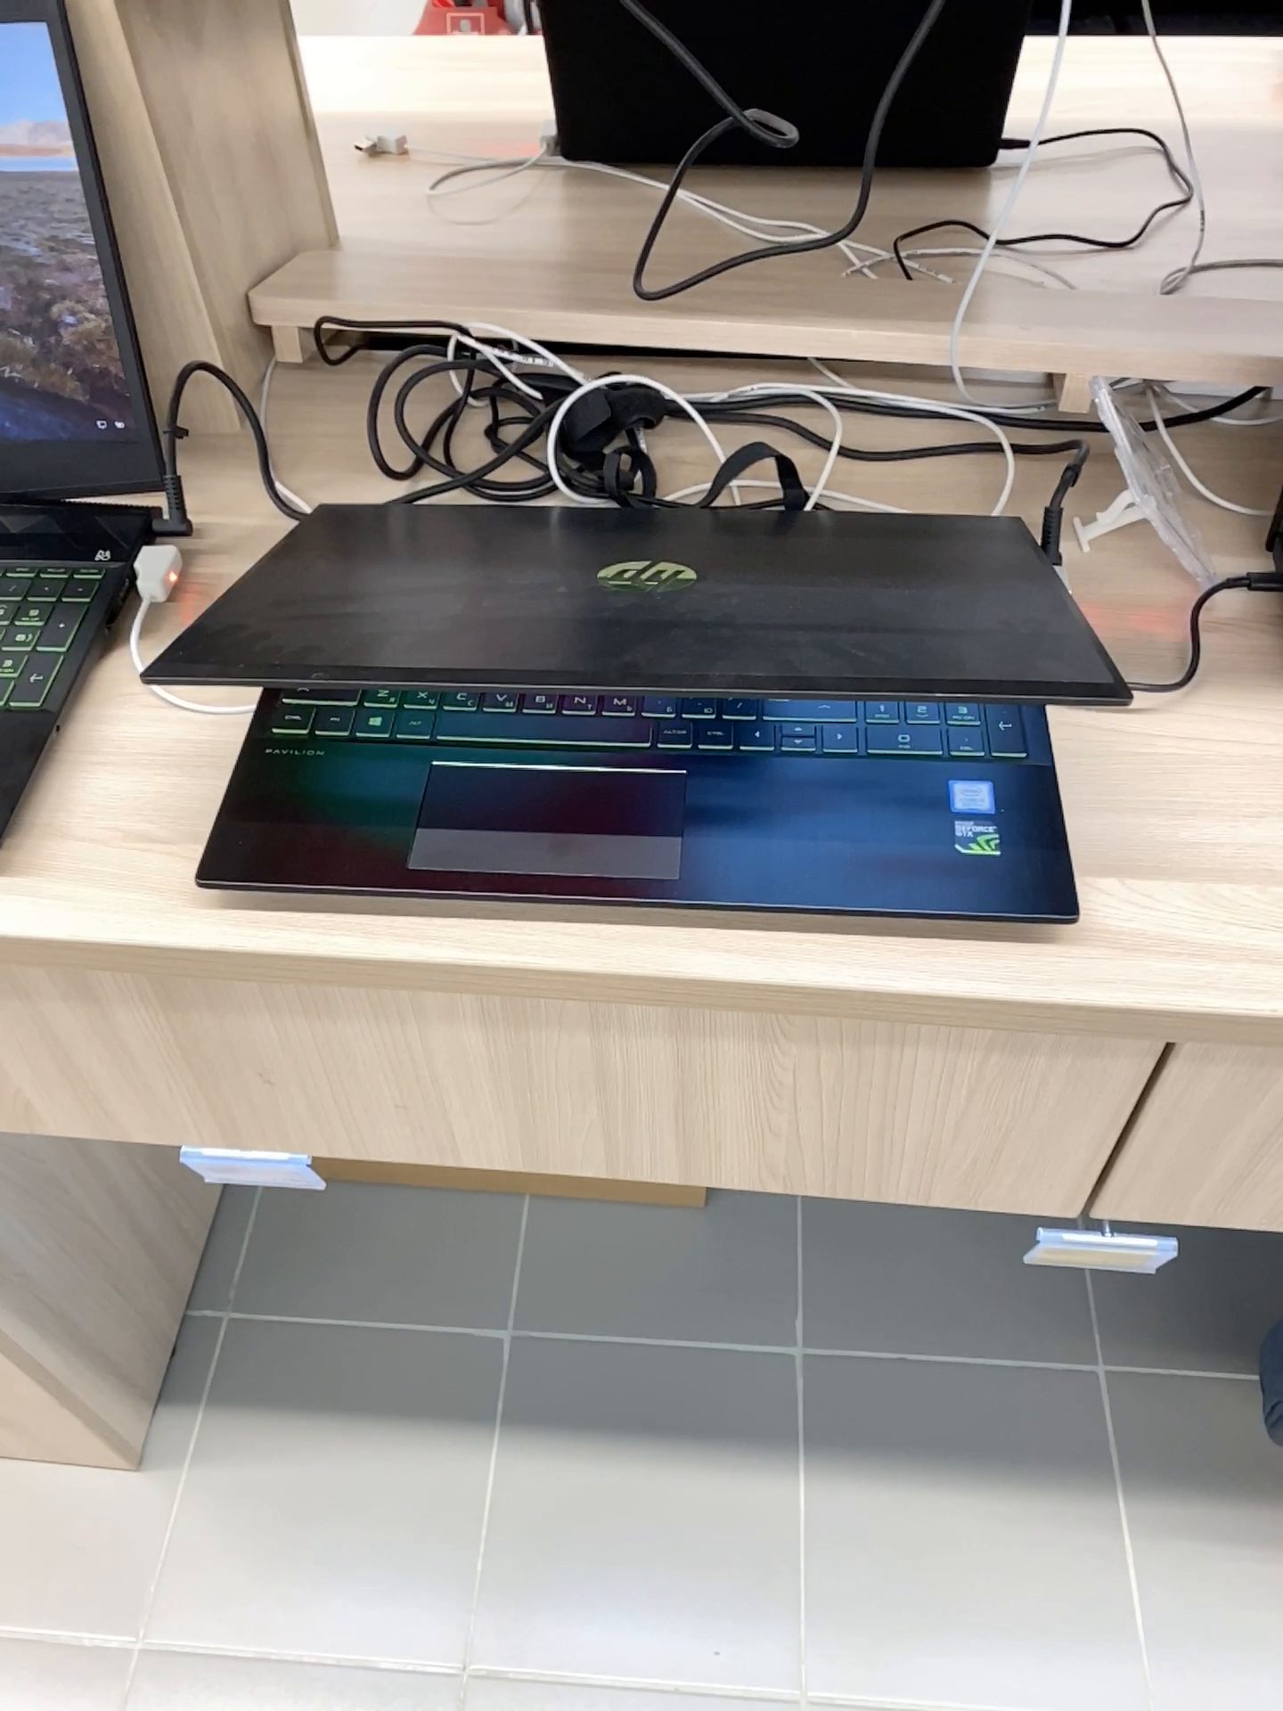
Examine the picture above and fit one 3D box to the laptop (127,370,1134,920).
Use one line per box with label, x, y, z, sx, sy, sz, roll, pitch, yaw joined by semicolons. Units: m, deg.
laptop;0.002;-0.104;0.579;0.361;0.092;0.243;2;50;3
